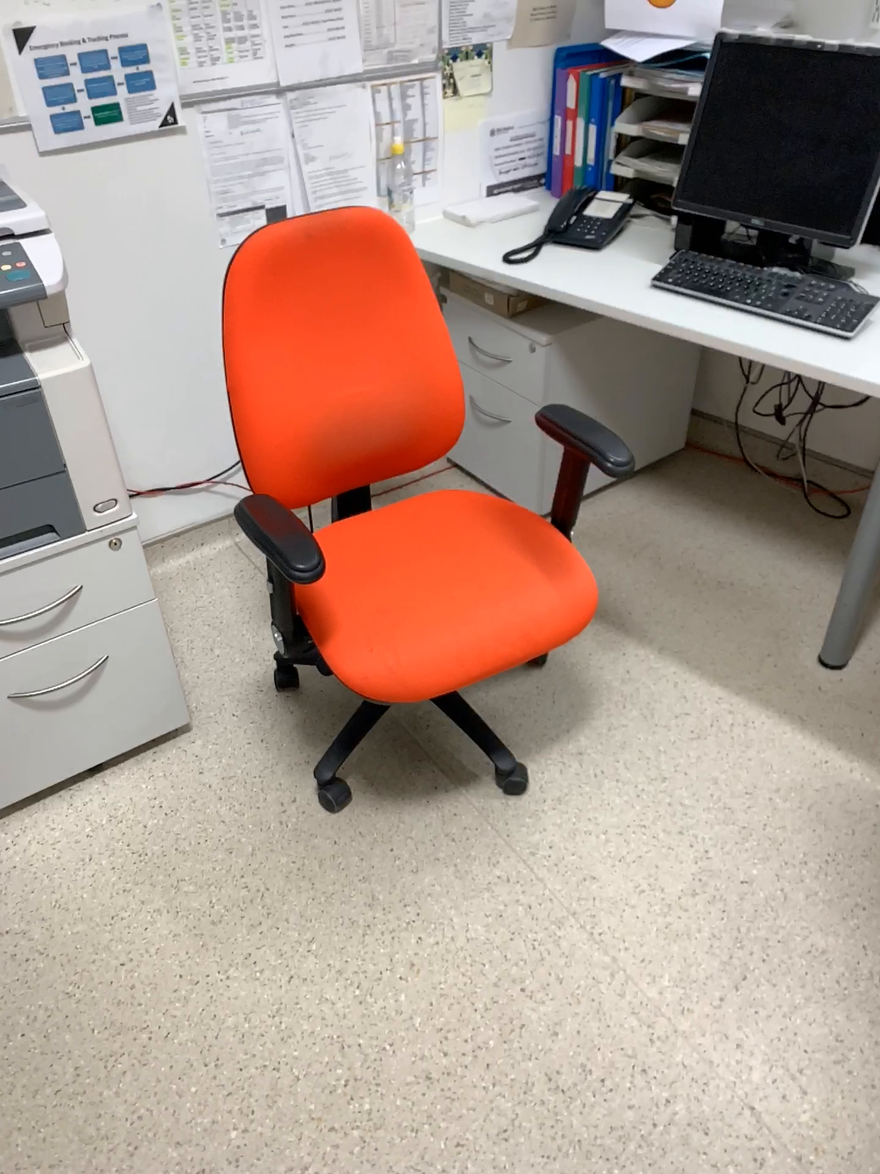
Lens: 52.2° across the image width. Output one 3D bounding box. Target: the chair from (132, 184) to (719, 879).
[{"bbox_3d":[-0.055,-0.134,1.634,0.652,0.892,0.690,-19,41,-21],"label":"chair"}]
